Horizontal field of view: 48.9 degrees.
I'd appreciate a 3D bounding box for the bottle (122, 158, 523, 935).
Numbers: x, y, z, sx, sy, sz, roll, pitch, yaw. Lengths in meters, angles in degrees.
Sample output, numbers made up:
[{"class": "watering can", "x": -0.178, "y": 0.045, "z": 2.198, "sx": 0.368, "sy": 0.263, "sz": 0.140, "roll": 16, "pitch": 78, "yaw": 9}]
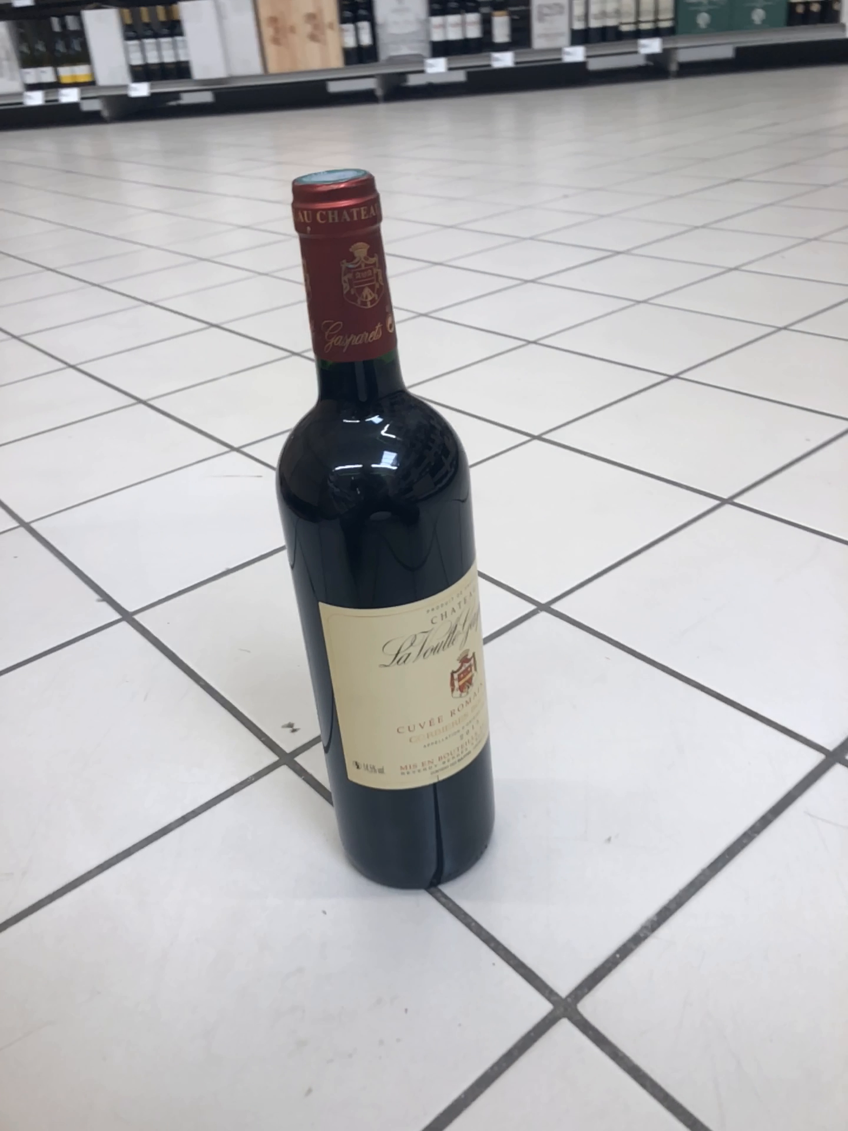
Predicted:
[{"class": "bottle", "x": -0.024, "y": 0.001, "z": 0.369, "sx": 0.090, "sy": 0.288, "sz": 0.080, "roll": 15, "pitch": 35, "yaw": 32}]
